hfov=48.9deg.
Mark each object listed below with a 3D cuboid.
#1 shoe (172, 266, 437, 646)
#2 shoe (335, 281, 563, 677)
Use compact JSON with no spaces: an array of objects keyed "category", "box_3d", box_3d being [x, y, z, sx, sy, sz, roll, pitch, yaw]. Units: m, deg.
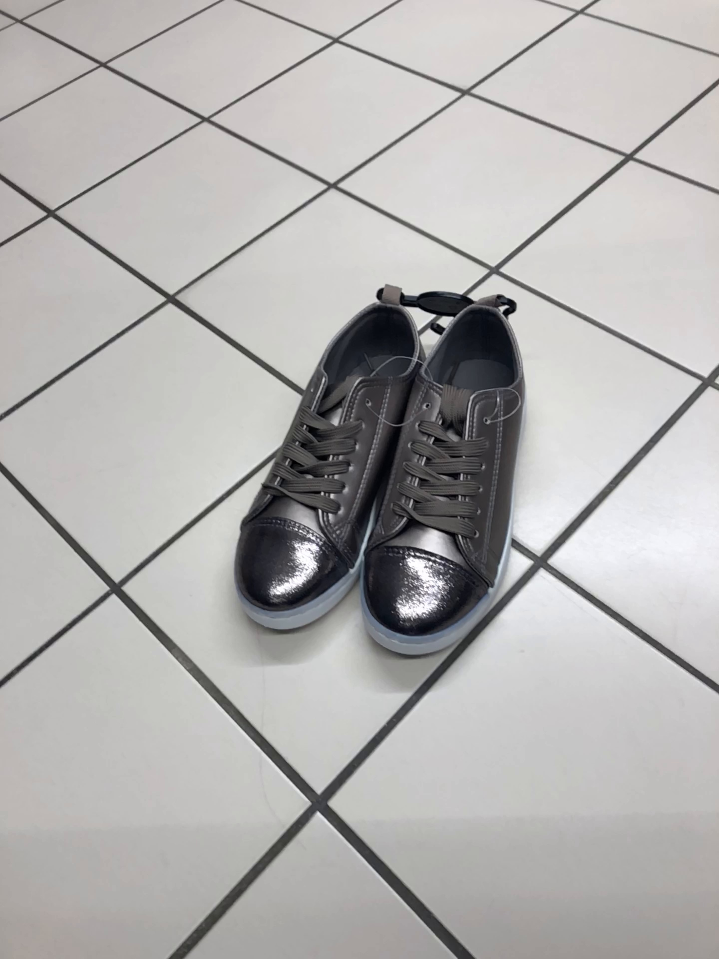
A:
[{"category":"shoe","box_3d":[-0.022,-0.026,0.525,0.090,0.080,0.241,11,57,14]},{"category":"shoe","box_3d":[0.066,-0.011,0.506,0.090,0.080,0.241,9,57,13]}]
